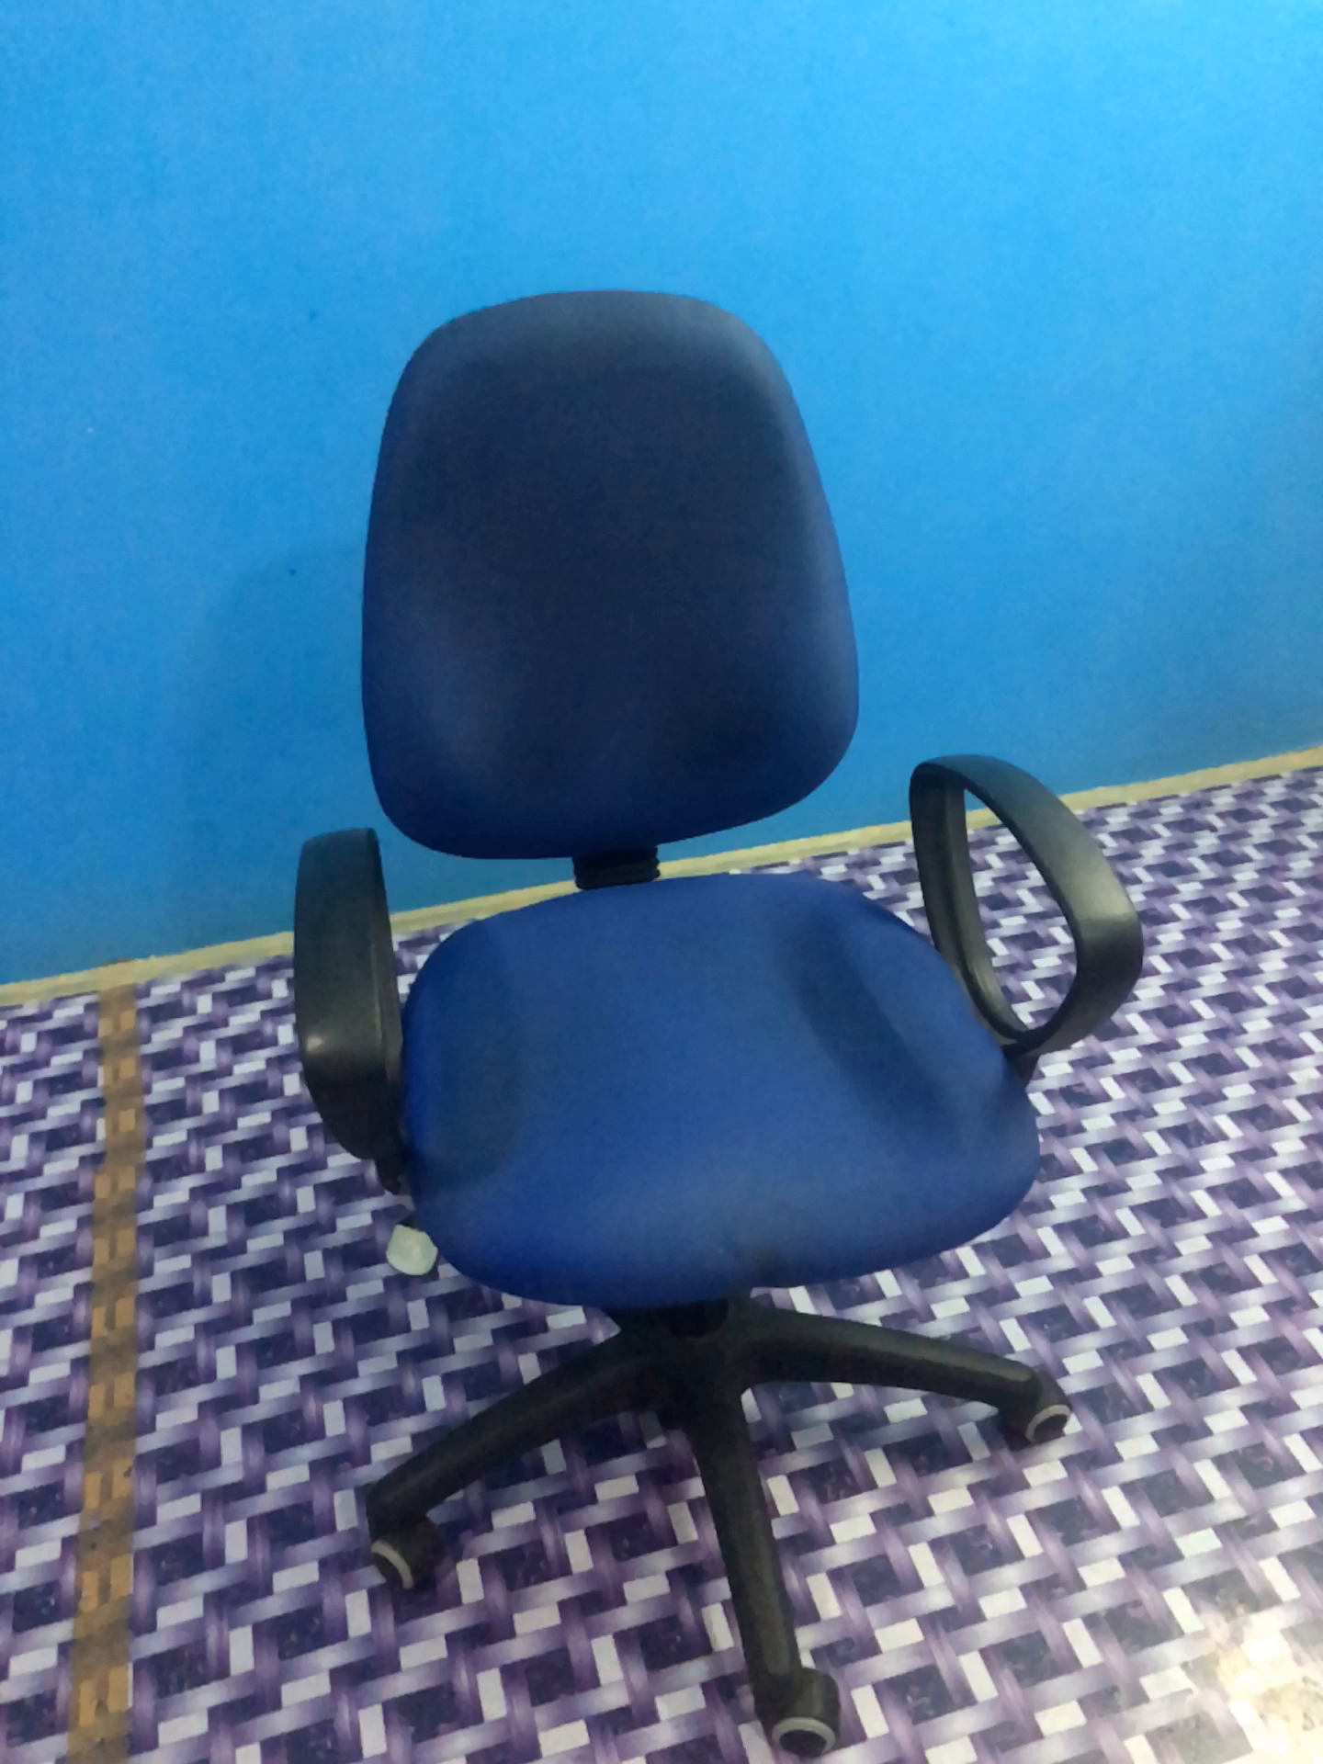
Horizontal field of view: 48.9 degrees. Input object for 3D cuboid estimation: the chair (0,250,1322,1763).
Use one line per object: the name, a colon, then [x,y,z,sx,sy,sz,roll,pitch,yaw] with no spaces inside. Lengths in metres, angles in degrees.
chair: [0.028,0.089,1.062,0.701,0.875,0.673,-9,34,-14]
